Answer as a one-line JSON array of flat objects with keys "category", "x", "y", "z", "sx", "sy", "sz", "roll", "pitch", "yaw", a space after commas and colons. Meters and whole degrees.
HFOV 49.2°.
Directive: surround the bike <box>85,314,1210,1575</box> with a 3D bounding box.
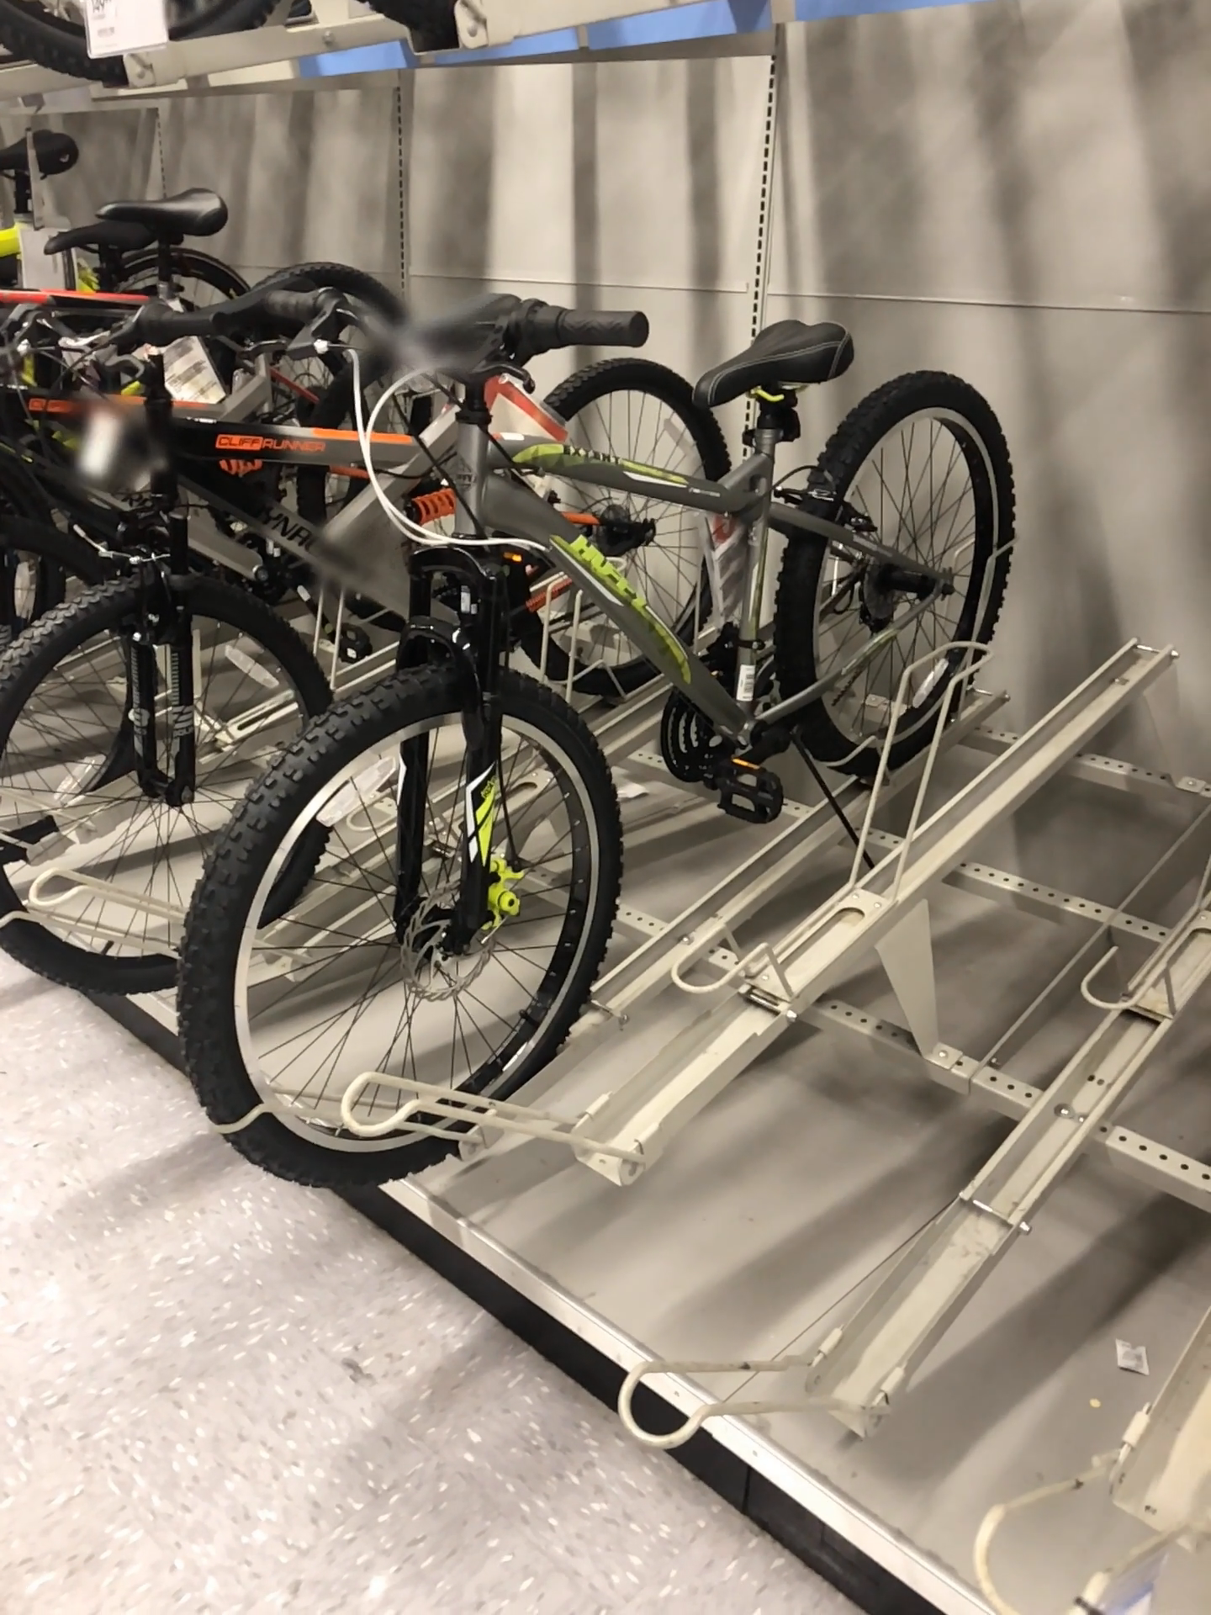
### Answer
[{"category": "bike", "x": 0.200, "y": -0.071, "z": 1.883, "sx": 0.609, "sy": 0.729, "sz": 1.721, "roll": 21, "pitch": 41, "yaw": 40}]
